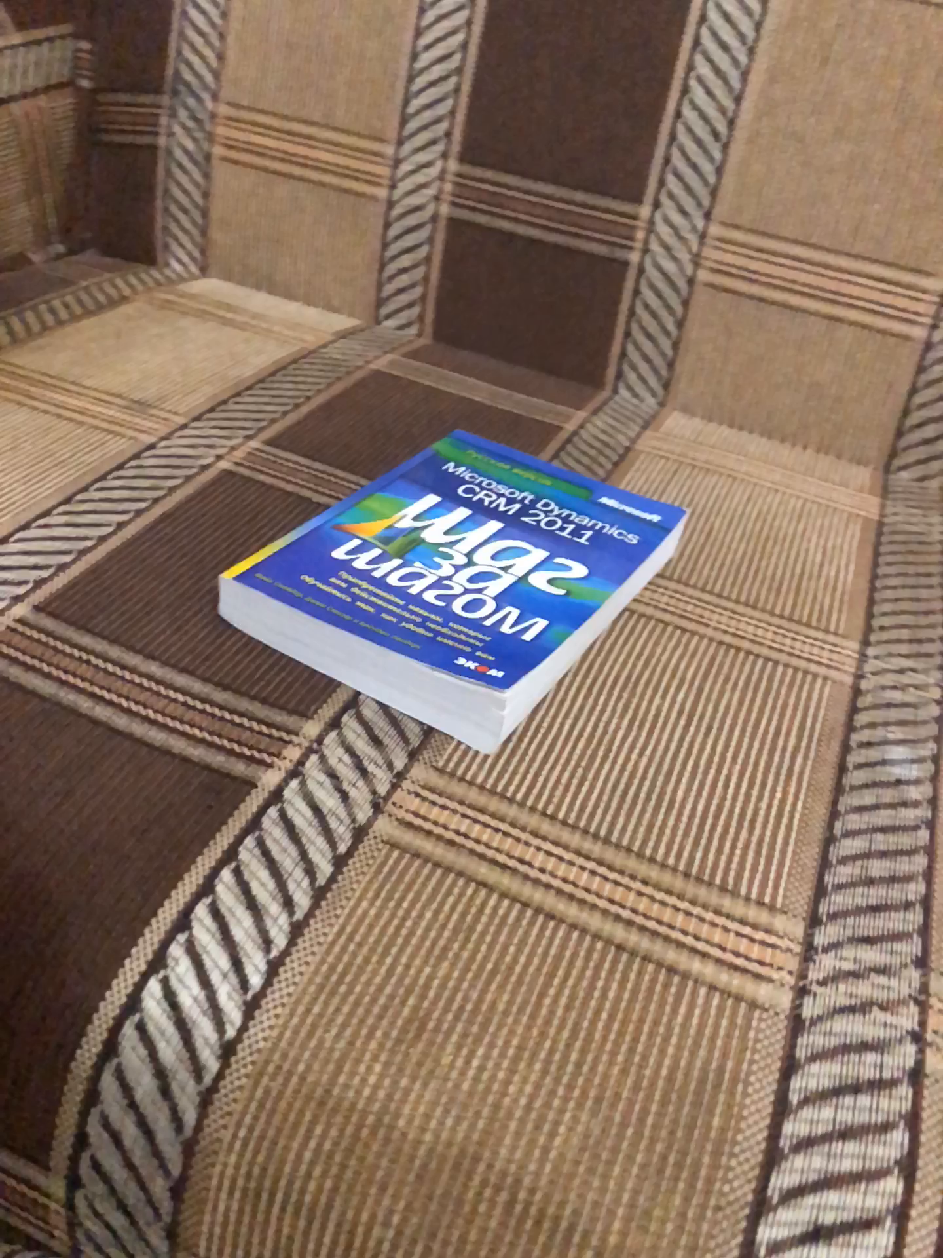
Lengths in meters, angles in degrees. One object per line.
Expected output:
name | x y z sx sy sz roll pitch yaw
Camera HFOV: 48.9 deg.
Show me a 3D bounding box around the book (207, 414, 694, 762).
book | -0.001 -0.035 0.502 0.151 0.030 0.201 24 39 21
